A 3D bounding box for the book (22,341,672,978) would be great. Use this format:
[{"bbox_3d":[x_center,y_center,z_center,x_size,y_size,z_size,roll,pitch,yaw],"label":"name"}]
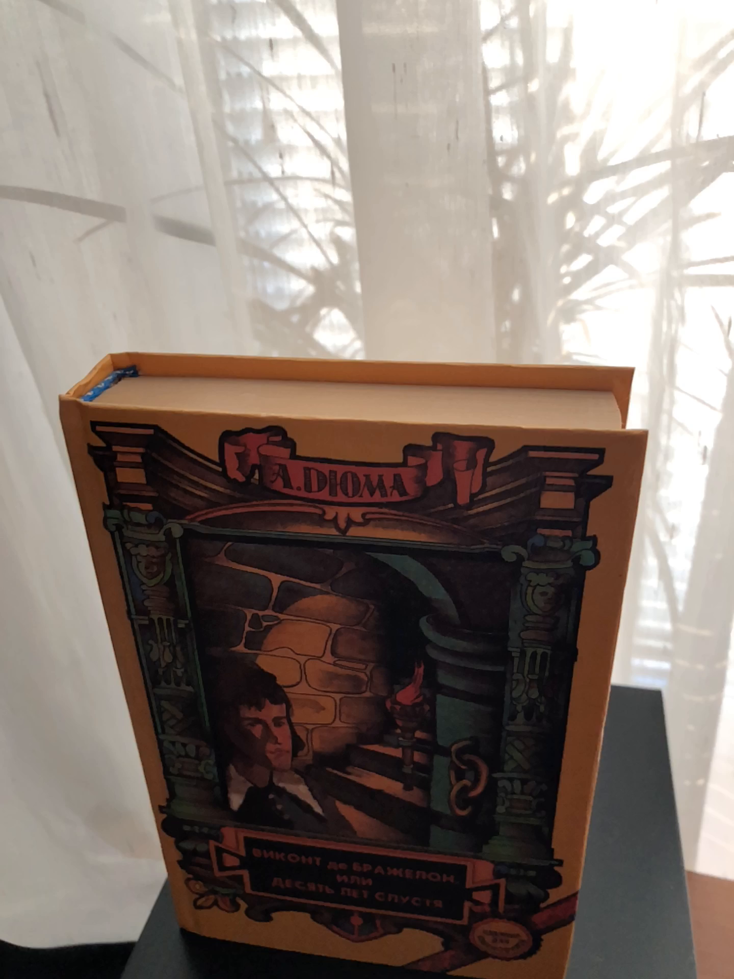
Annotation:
[{"bbox_3d":[0.001,0.063,0.248,0.142,0.208,0.045,3,31,11],"label":"book"}]
